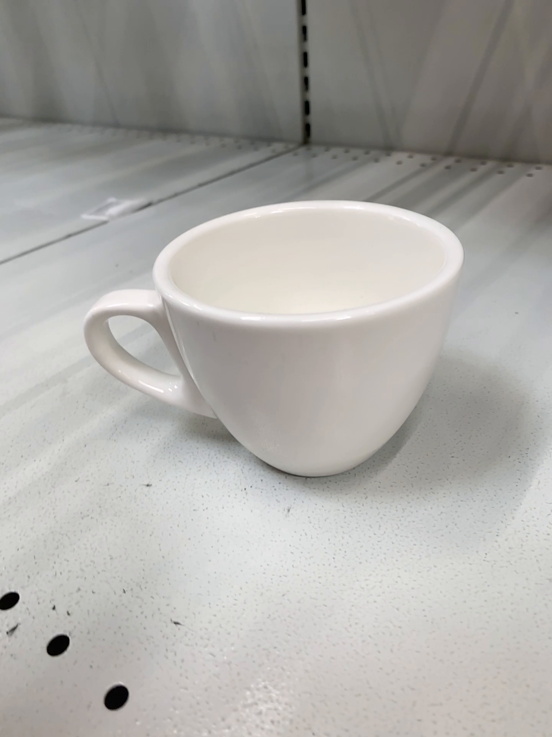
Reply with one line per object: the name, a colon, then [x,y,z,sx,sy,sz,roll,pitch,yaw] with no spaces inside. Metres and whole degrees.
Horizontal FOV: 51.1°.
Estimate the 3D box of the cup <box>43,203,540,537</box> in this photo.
cup: [0.009,-0.008,0.206,0.128,0.072,0.097,2,33,10]
